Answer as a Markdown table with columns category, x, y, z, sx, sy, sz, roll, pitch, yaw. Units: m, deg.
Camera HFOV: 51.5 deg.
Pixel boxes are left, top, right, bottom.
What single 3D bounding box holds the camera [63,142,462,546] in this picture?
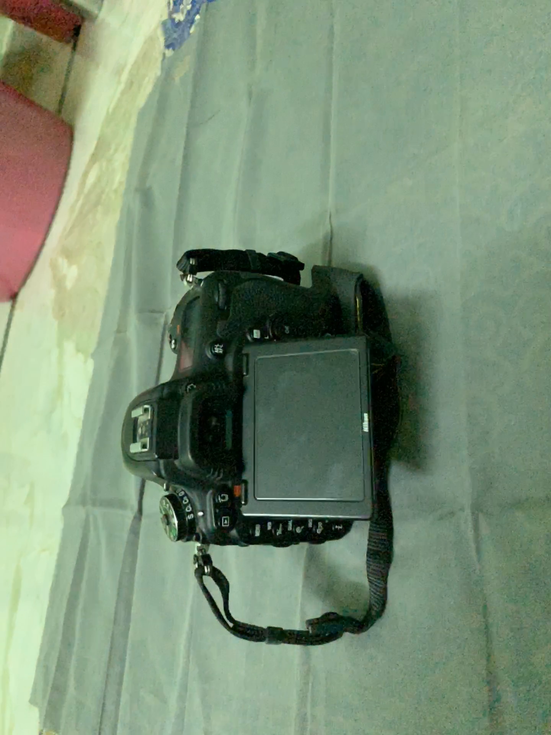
| category | x | y | z | sx | sy | sz | roll | pitch | yaw |
| --- | --- | --- | --- | --- | --- | --- | --- | --- | --- |
| camera | -0.022 | 0.015 | 0.343 | 0.231 | 0.099 | 0.165 | -19 | 60 | 48 |
